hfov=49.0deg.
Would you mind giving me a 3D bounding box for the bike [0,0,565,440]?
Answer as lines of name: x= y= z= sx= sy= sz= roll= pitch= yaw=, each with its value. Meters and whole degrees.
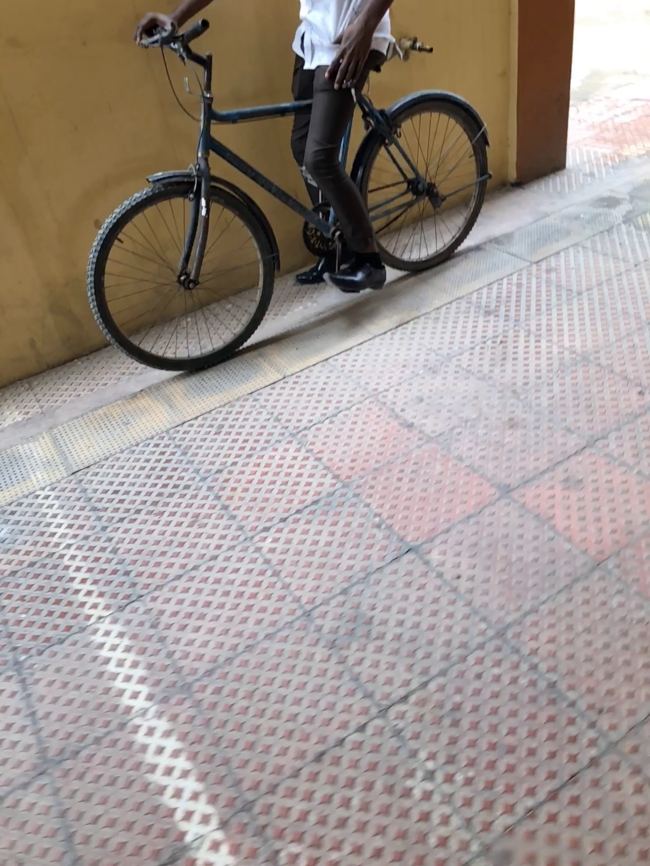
bike: x=-0.025 y=-0.832 z=2.243 sx=1.577 sy=1.024 sz=0.590 roll=-24 pitch=39 yaw=-21
